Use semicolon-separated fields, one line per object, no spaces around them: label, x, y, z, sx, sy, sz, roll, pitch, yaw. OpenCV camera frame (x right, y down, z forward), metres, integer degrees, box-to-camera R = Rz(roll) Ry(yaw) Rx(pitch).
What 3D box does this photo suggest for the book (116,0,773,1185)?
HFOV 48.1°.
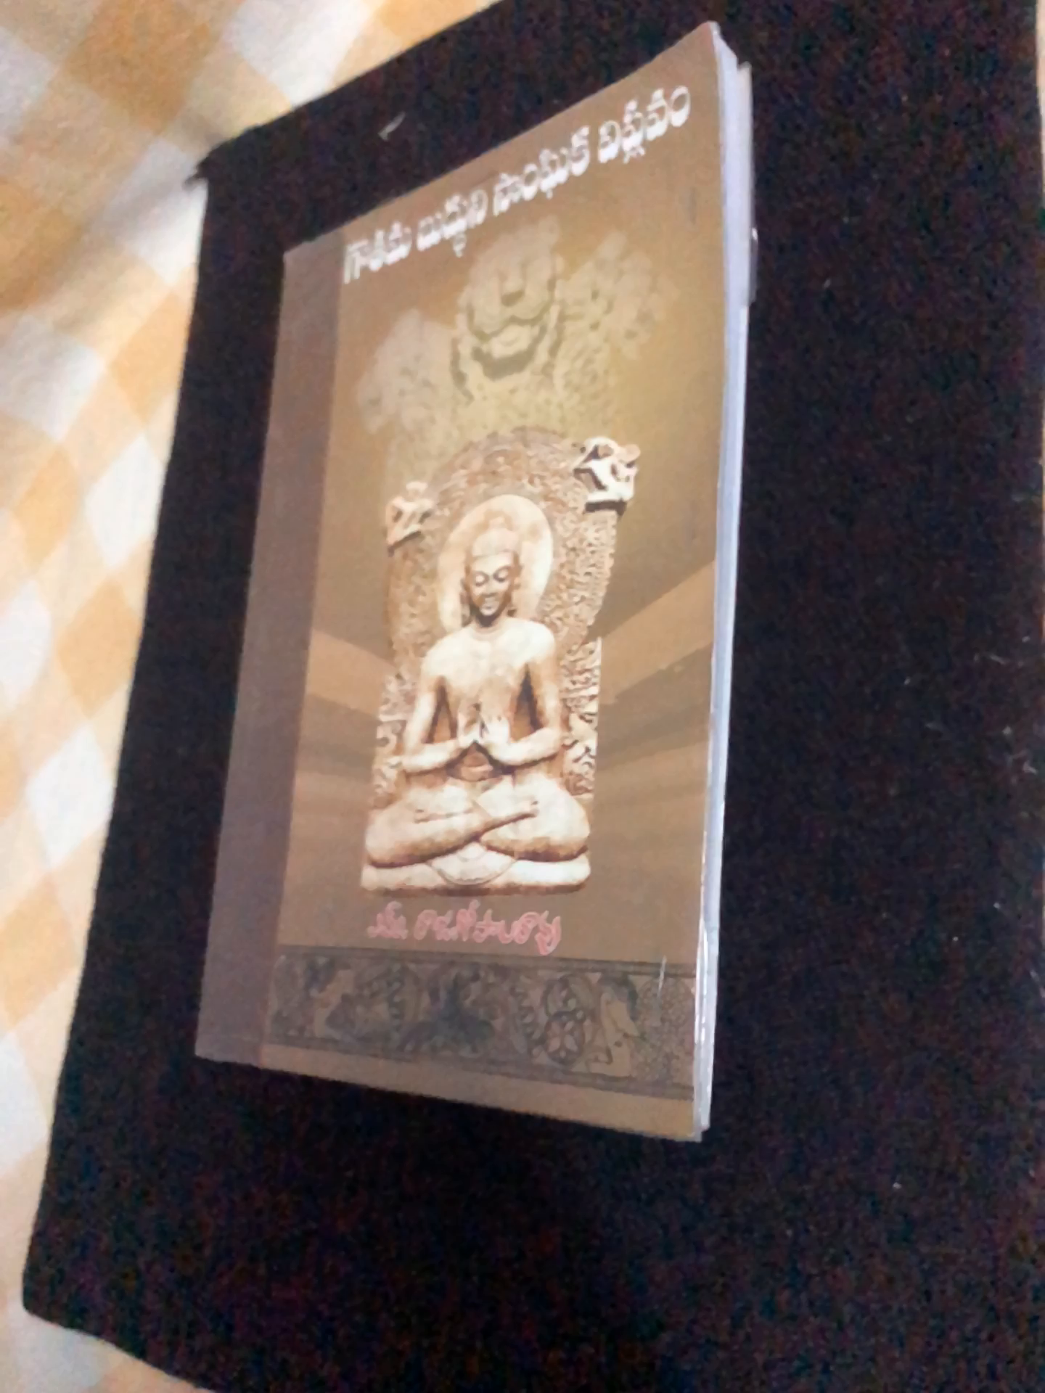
book;-0.019;-0.026;0.261;0.150;0.020;0.230;-8;70;37
